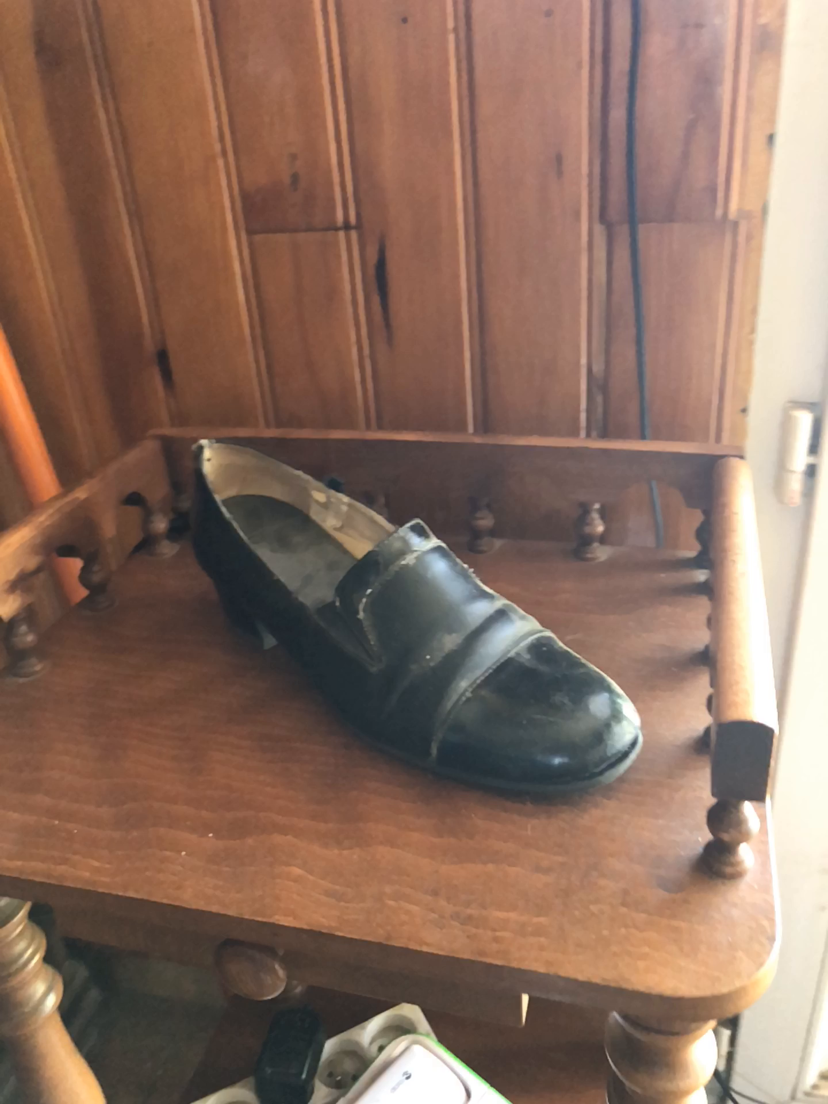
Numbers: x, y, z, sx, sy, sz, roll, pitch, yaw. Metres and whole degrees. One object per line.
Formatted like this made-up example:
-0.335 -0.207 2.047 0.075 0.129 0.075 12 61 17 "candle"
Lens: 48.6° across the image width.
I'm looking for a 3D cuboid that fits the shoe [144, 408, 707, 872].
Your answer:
-0.010 0.016 0.423 0.100 0.090 0.260 -25 34 -34 "shoe"
